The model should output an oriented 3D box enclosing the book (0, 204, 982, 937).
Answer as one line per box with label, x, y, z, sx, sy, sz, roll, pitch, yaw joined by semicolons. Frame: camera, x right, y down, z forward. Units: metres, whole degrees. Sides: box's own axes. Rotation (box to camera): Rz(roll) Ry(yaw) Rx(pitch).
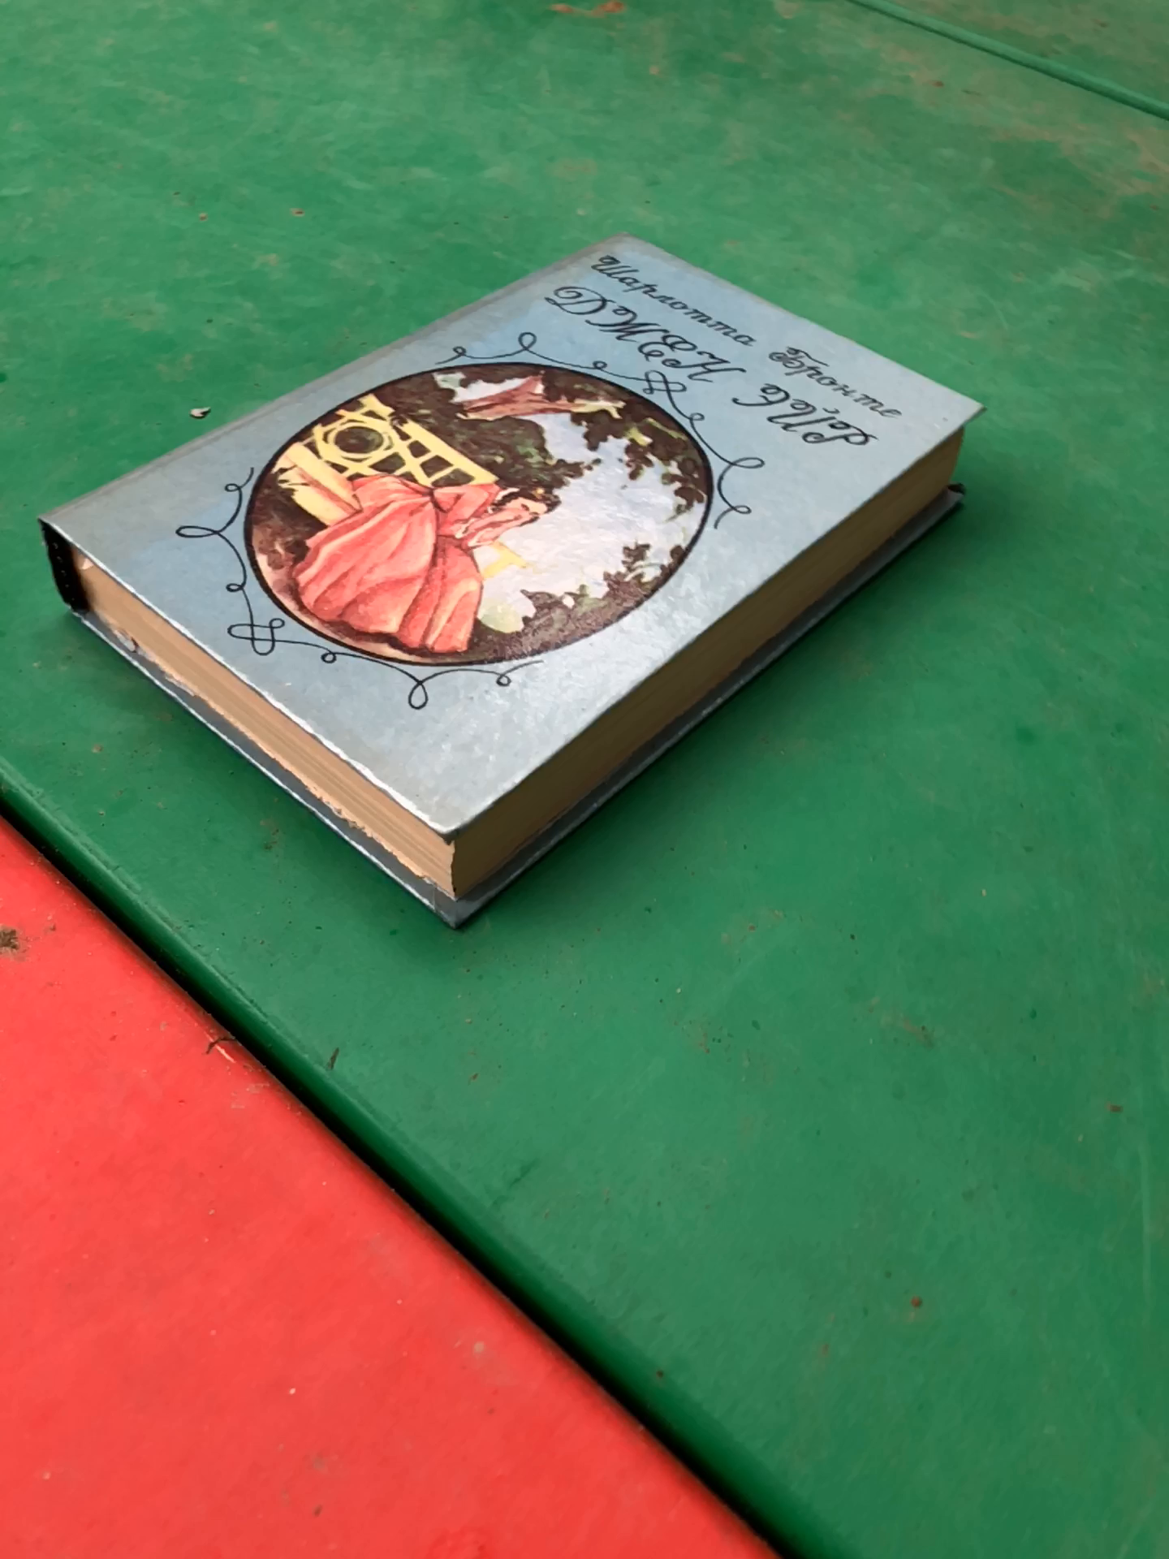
book;-0.015;-0.069;0.313;0.135;0.030;0.196;35;55;23
